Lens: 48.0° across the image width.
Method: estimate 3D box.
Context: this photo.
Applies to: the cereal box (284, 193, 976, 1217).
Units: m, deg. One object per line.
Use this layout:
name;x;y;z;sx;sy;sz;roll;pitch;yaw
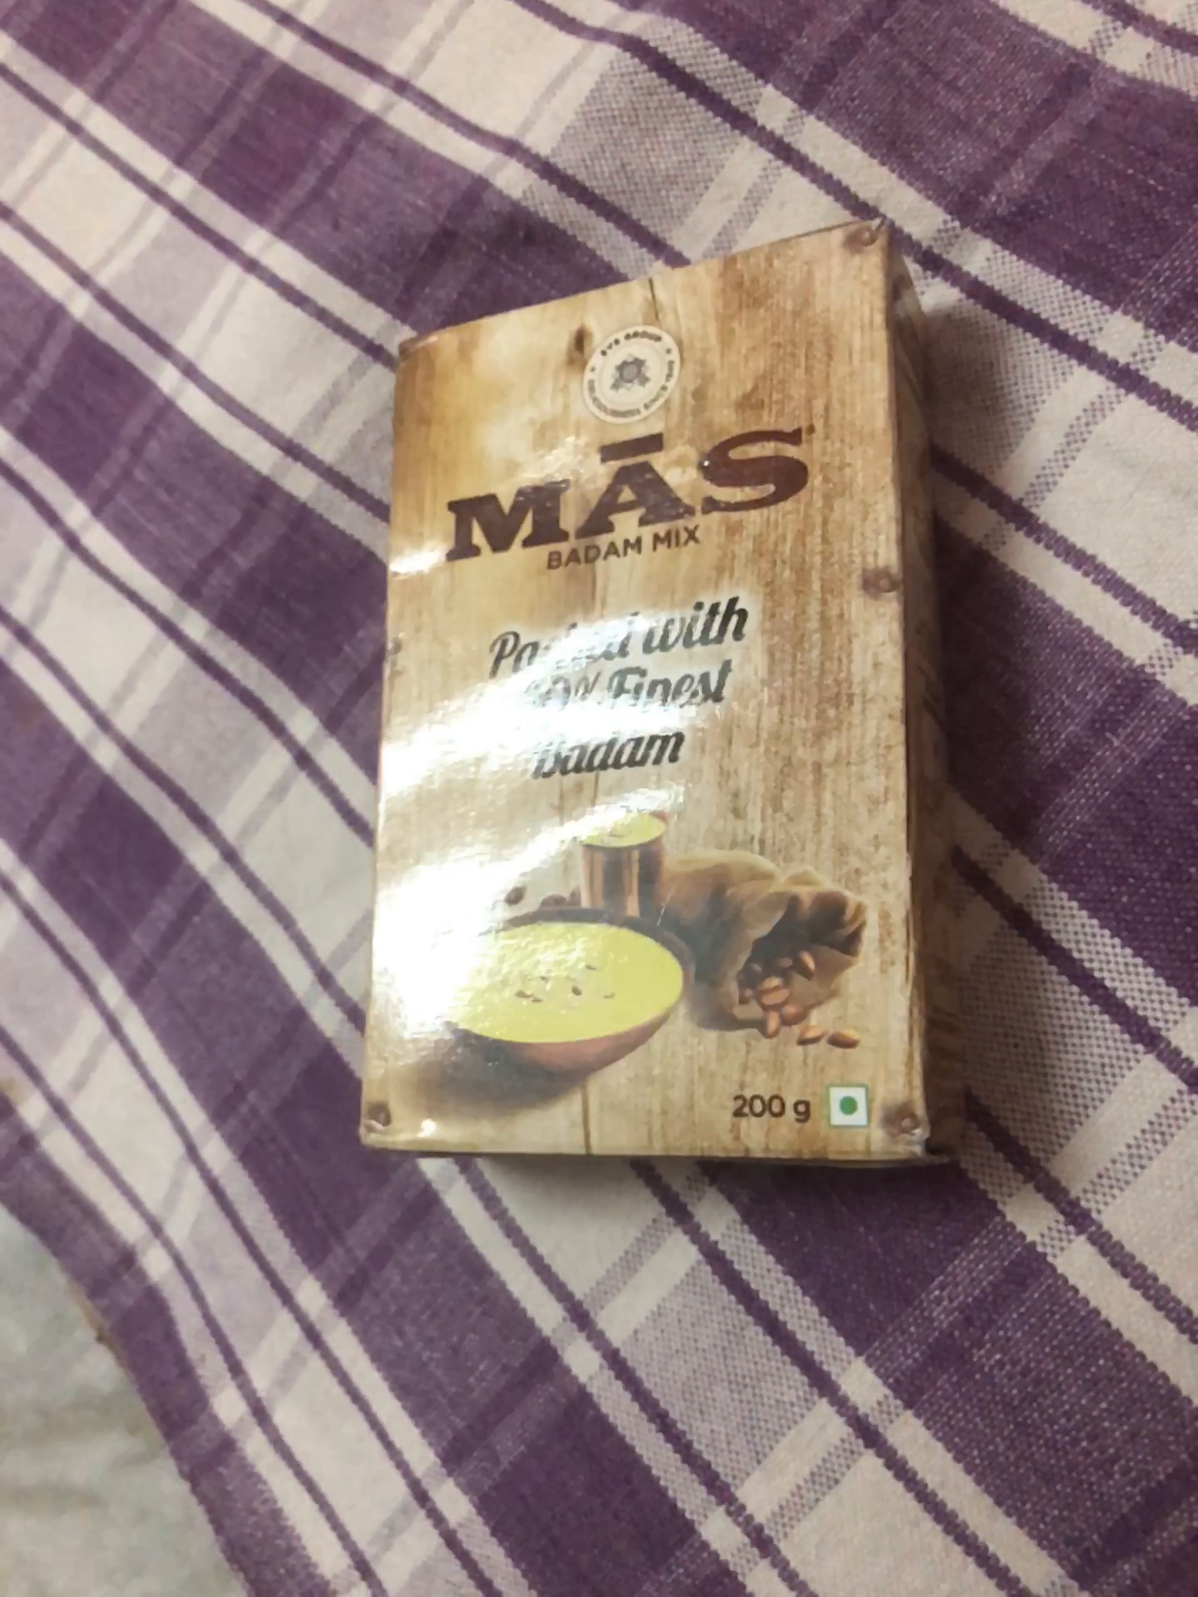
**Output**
cereal box;0.004;-0.011;0.197;0.090;0.030;0.130;-4;77;24
